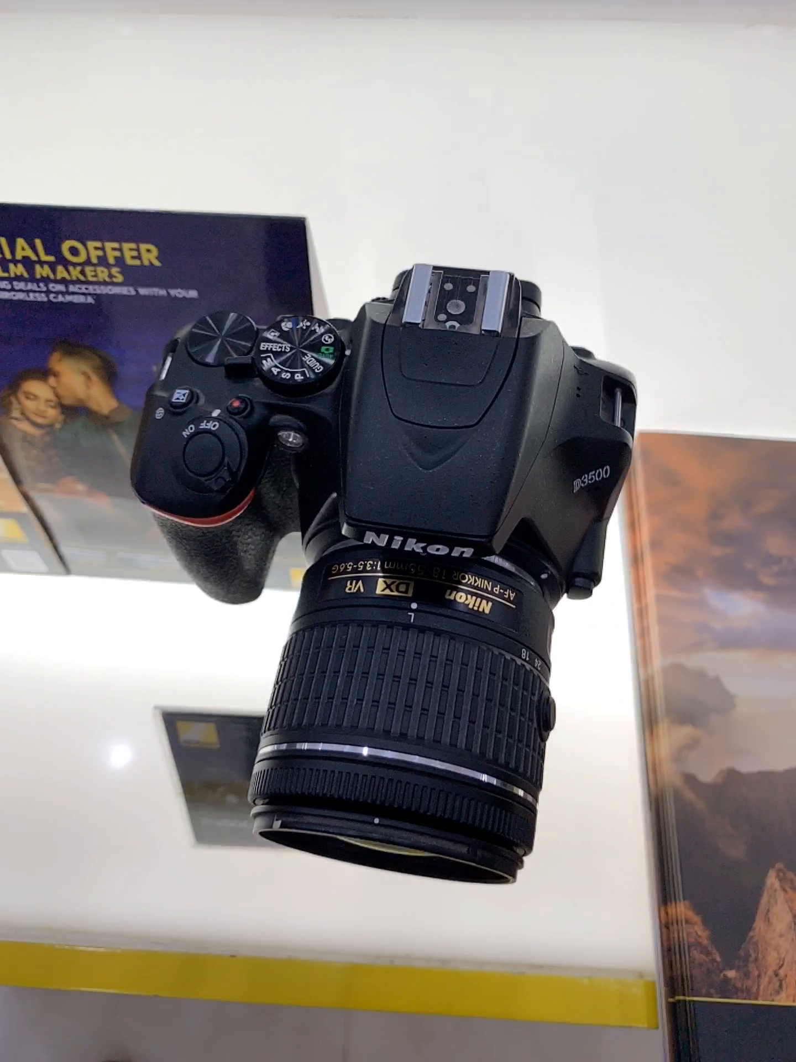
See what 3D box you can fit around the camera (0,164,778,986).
[{"bbox_3d":[0.007,0.004,0.180,0.110,0.070,0.150,7,61,5],"label":"camera"}]
